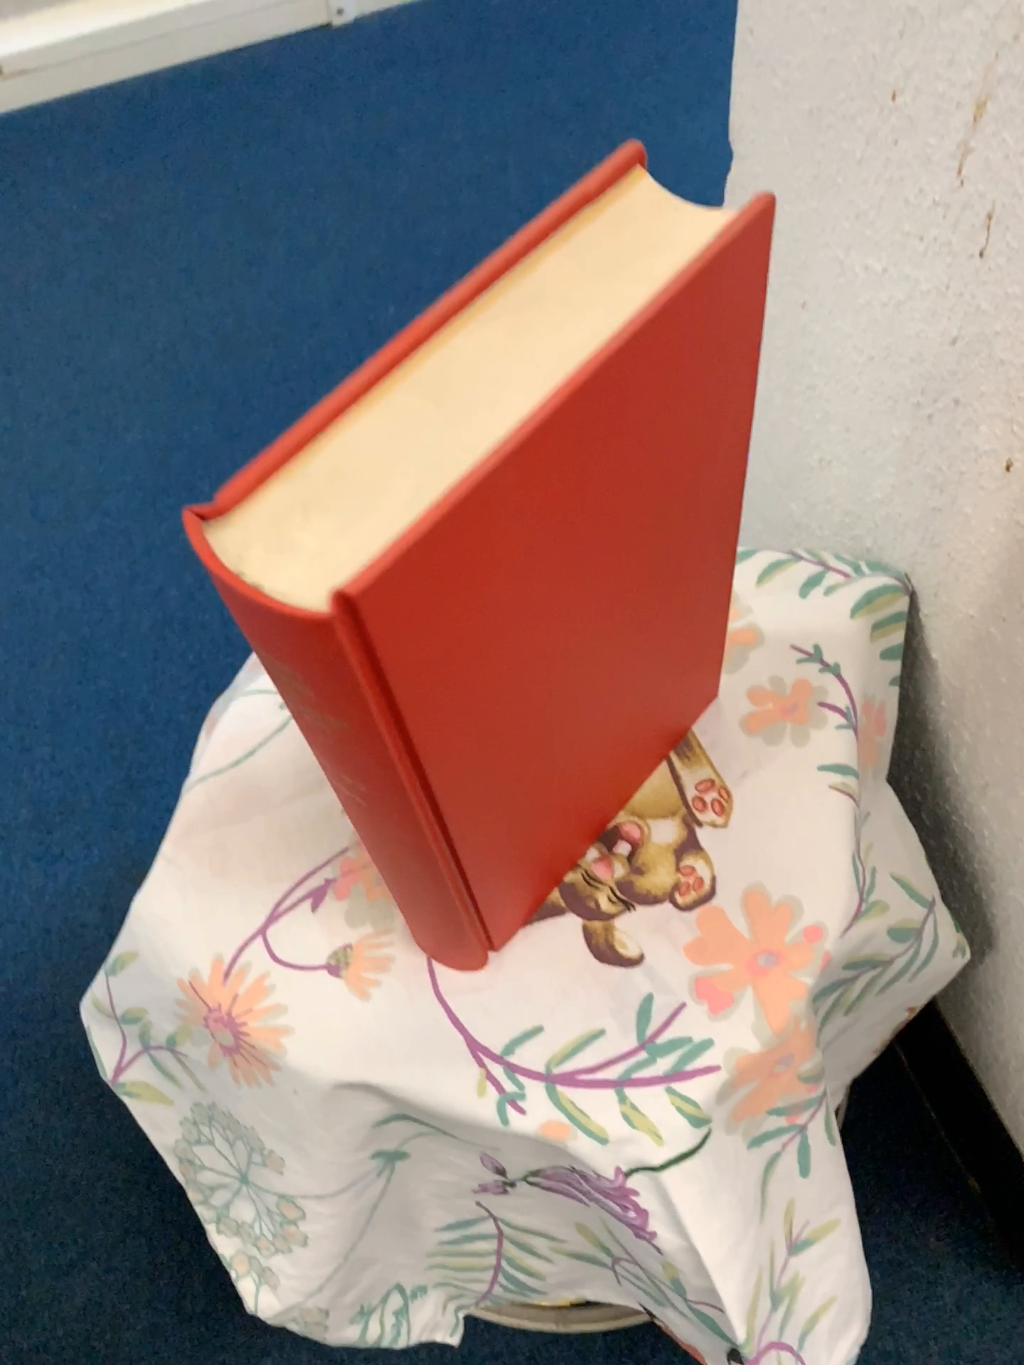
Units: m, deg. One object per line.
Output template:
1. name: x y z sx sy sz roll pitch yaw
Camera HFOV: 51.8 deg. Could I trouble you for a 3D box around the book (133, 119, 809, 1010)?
1. book: 0.010 -0.011 0.337 0.050 0.246 0.169 35 68 26
